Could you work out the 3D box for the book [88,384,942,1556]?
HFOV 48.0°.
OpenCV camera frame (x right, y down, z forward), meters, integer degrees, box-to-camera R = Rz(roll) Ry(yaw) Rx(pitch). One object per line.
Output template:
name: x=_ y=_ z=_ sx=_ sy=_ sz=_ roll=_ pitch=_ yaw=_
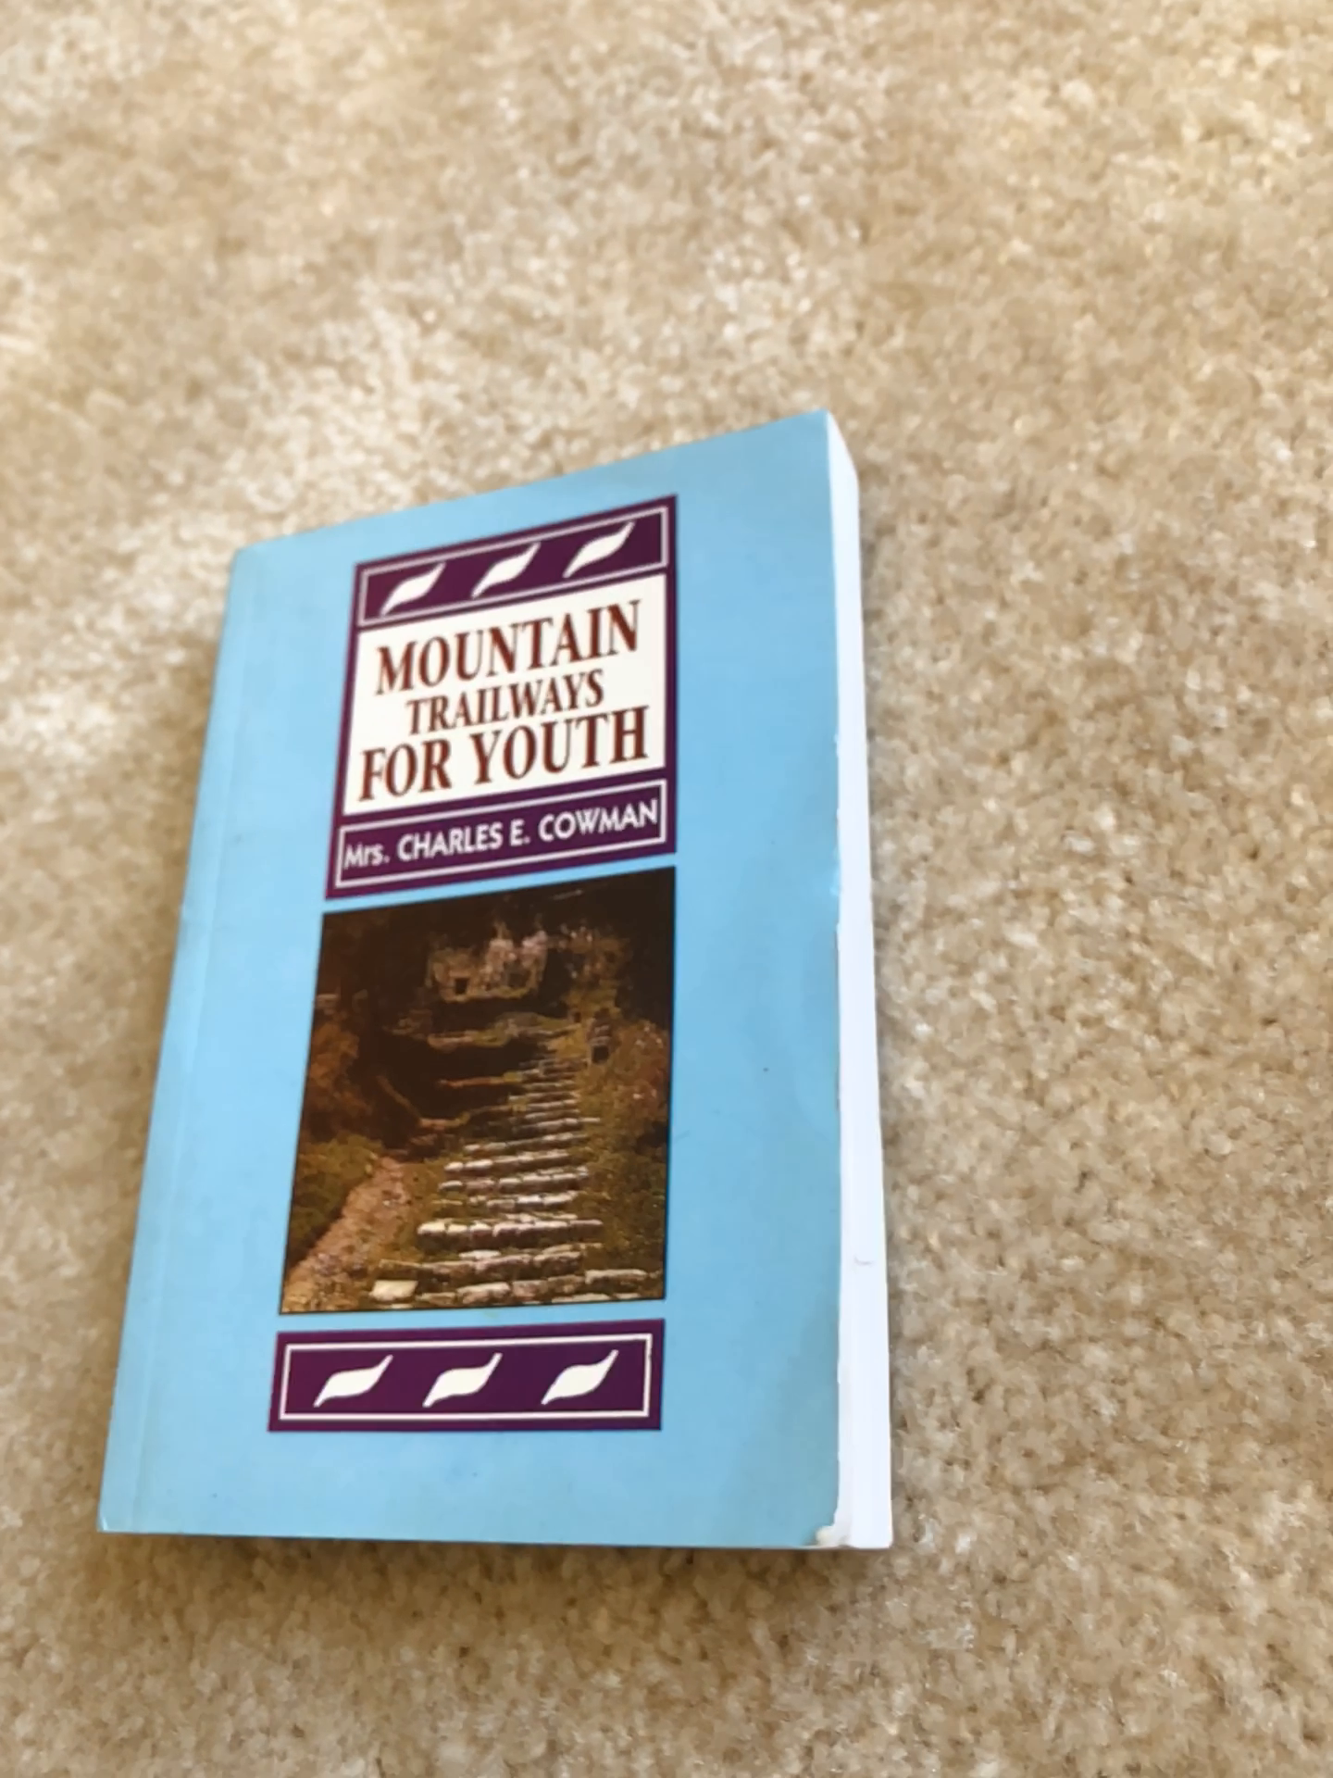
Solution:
book: x=-0.023 y=0.012 z=0.243 sx=0.122 sy=0.030 sz=0.170 roll=-8 pitch=67 yaw=22
